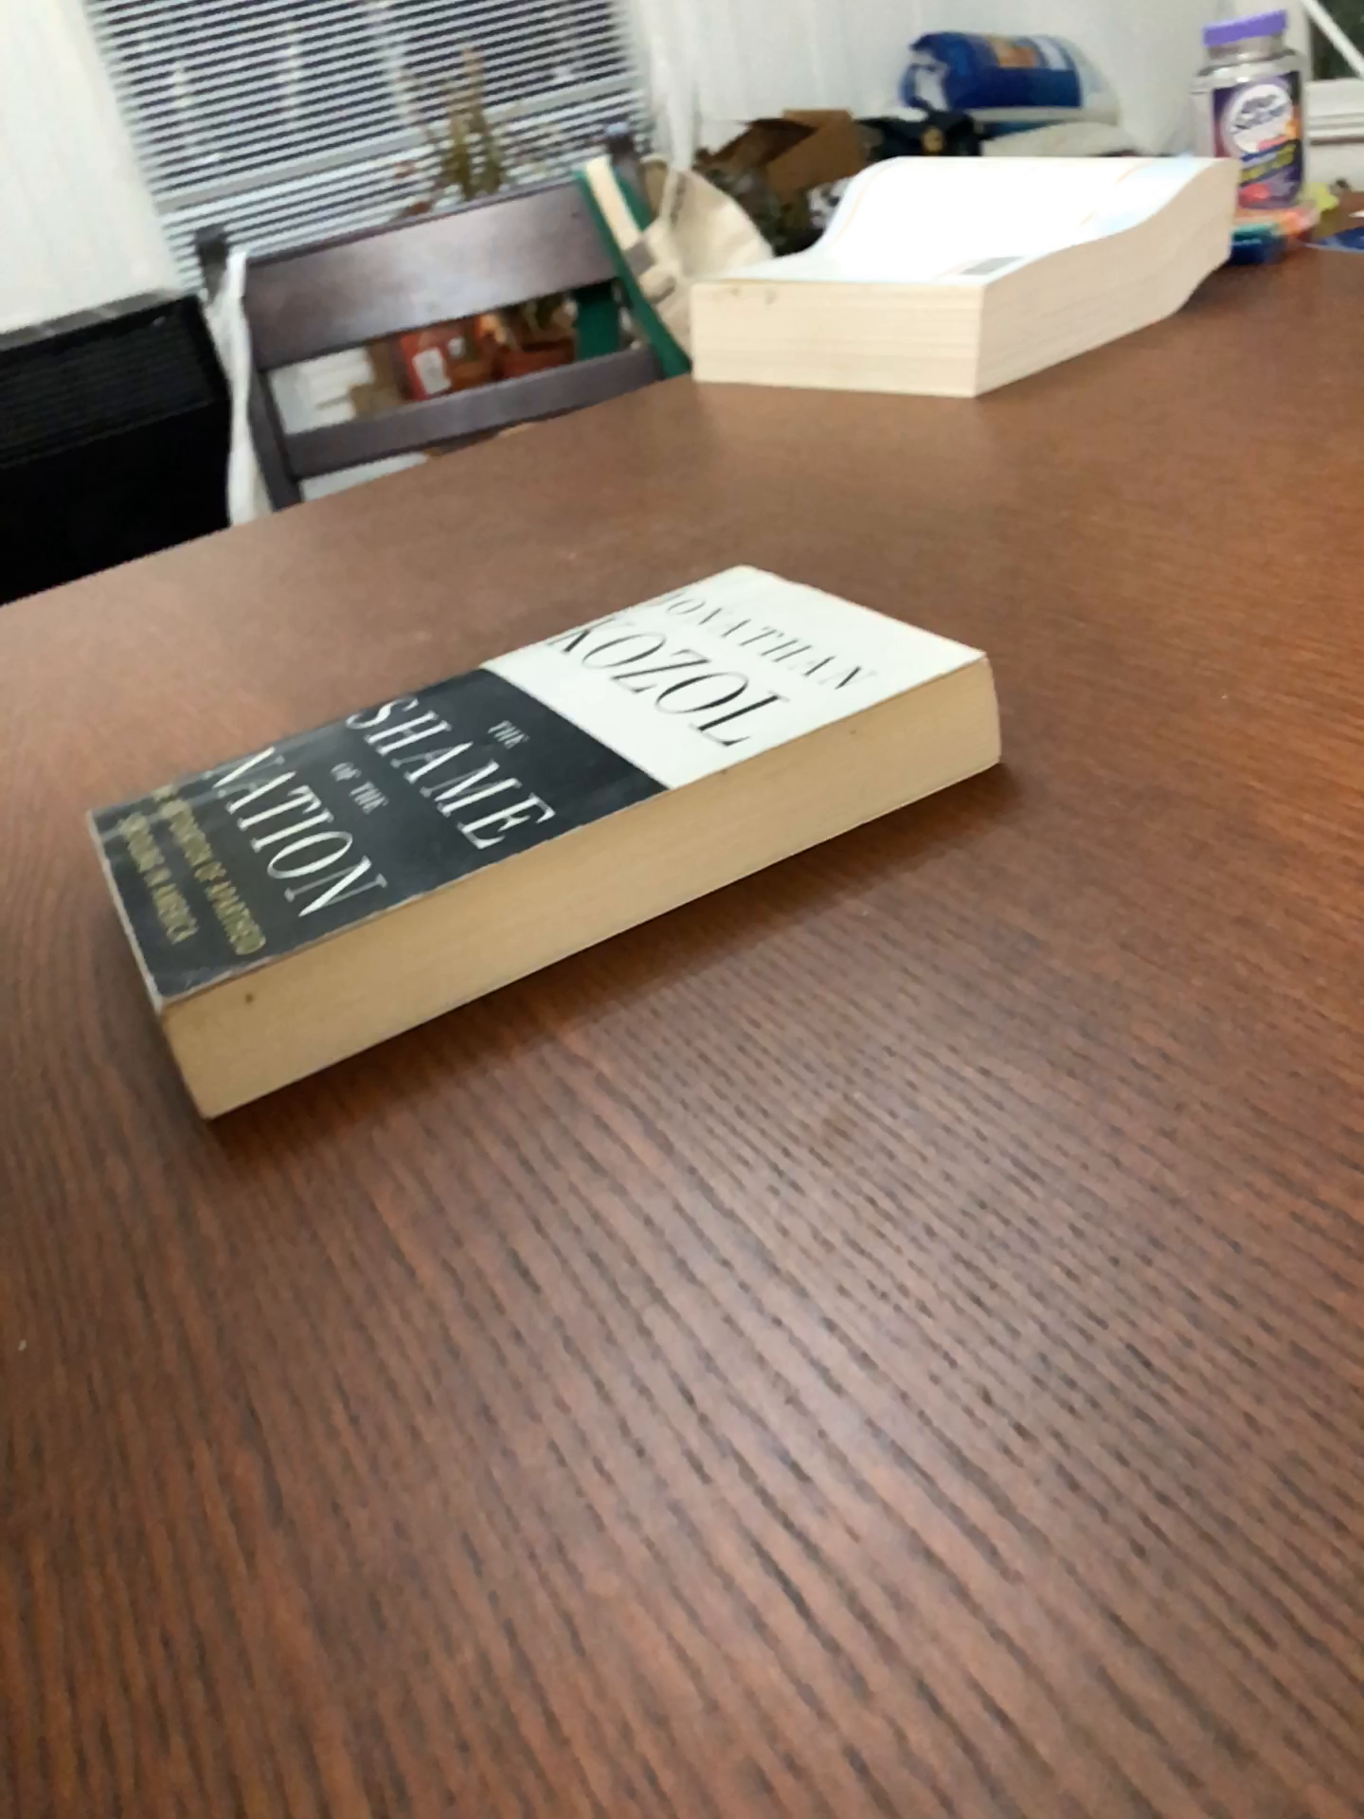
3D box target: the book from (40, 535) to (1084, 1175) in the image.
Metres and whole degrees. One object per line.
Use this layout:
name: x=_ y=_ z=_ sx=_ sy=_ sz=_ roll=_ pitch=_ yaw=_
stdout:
book: x=-0.041 y=-0.034 z=0.393 sx=0.230 sy=0.030 sz=0.161 roll=-24 pitch=30 yaw=-16
